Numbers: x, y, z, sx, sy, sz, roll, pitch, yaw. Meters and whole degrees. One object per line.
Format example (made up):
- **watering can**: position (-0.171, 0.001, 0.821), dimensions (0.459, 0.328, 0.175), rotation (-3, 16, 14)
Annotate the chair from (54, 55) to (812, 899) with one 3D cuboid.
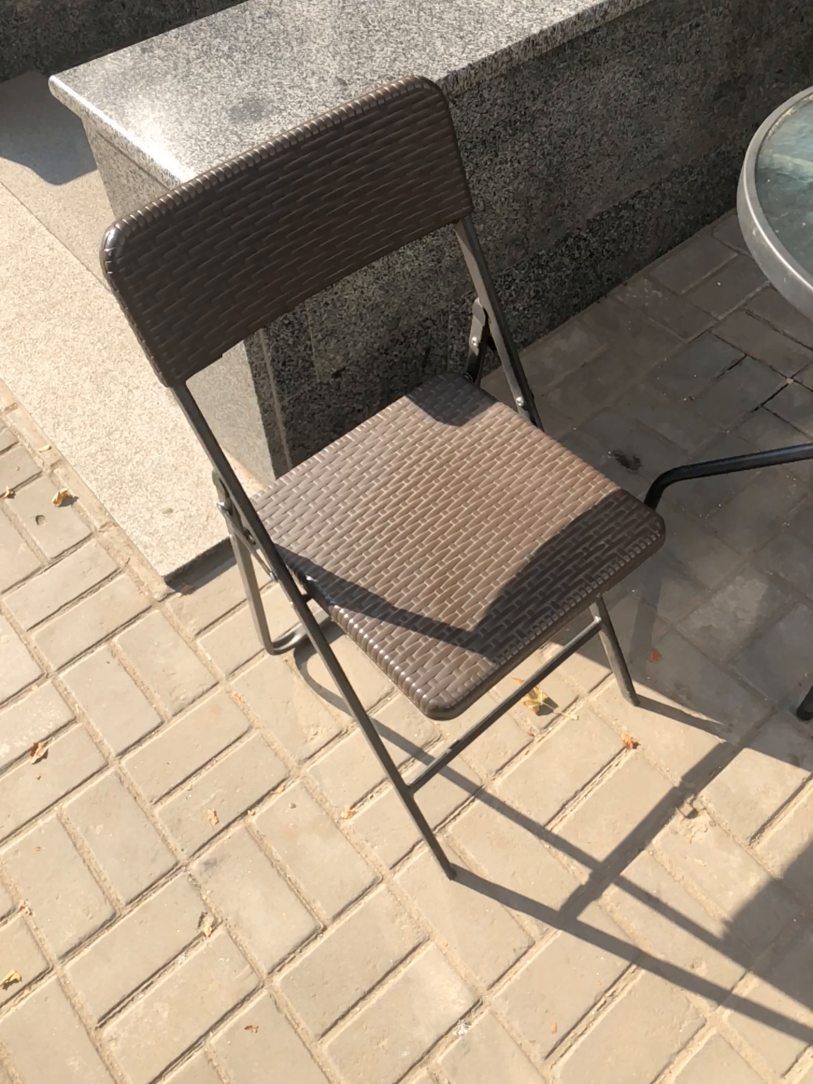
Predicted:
- **chair**: position (0.033, -0.034, 1.065), dimensions (0.451, 0.748, 0.511), rotation (-36, 60, -23)
